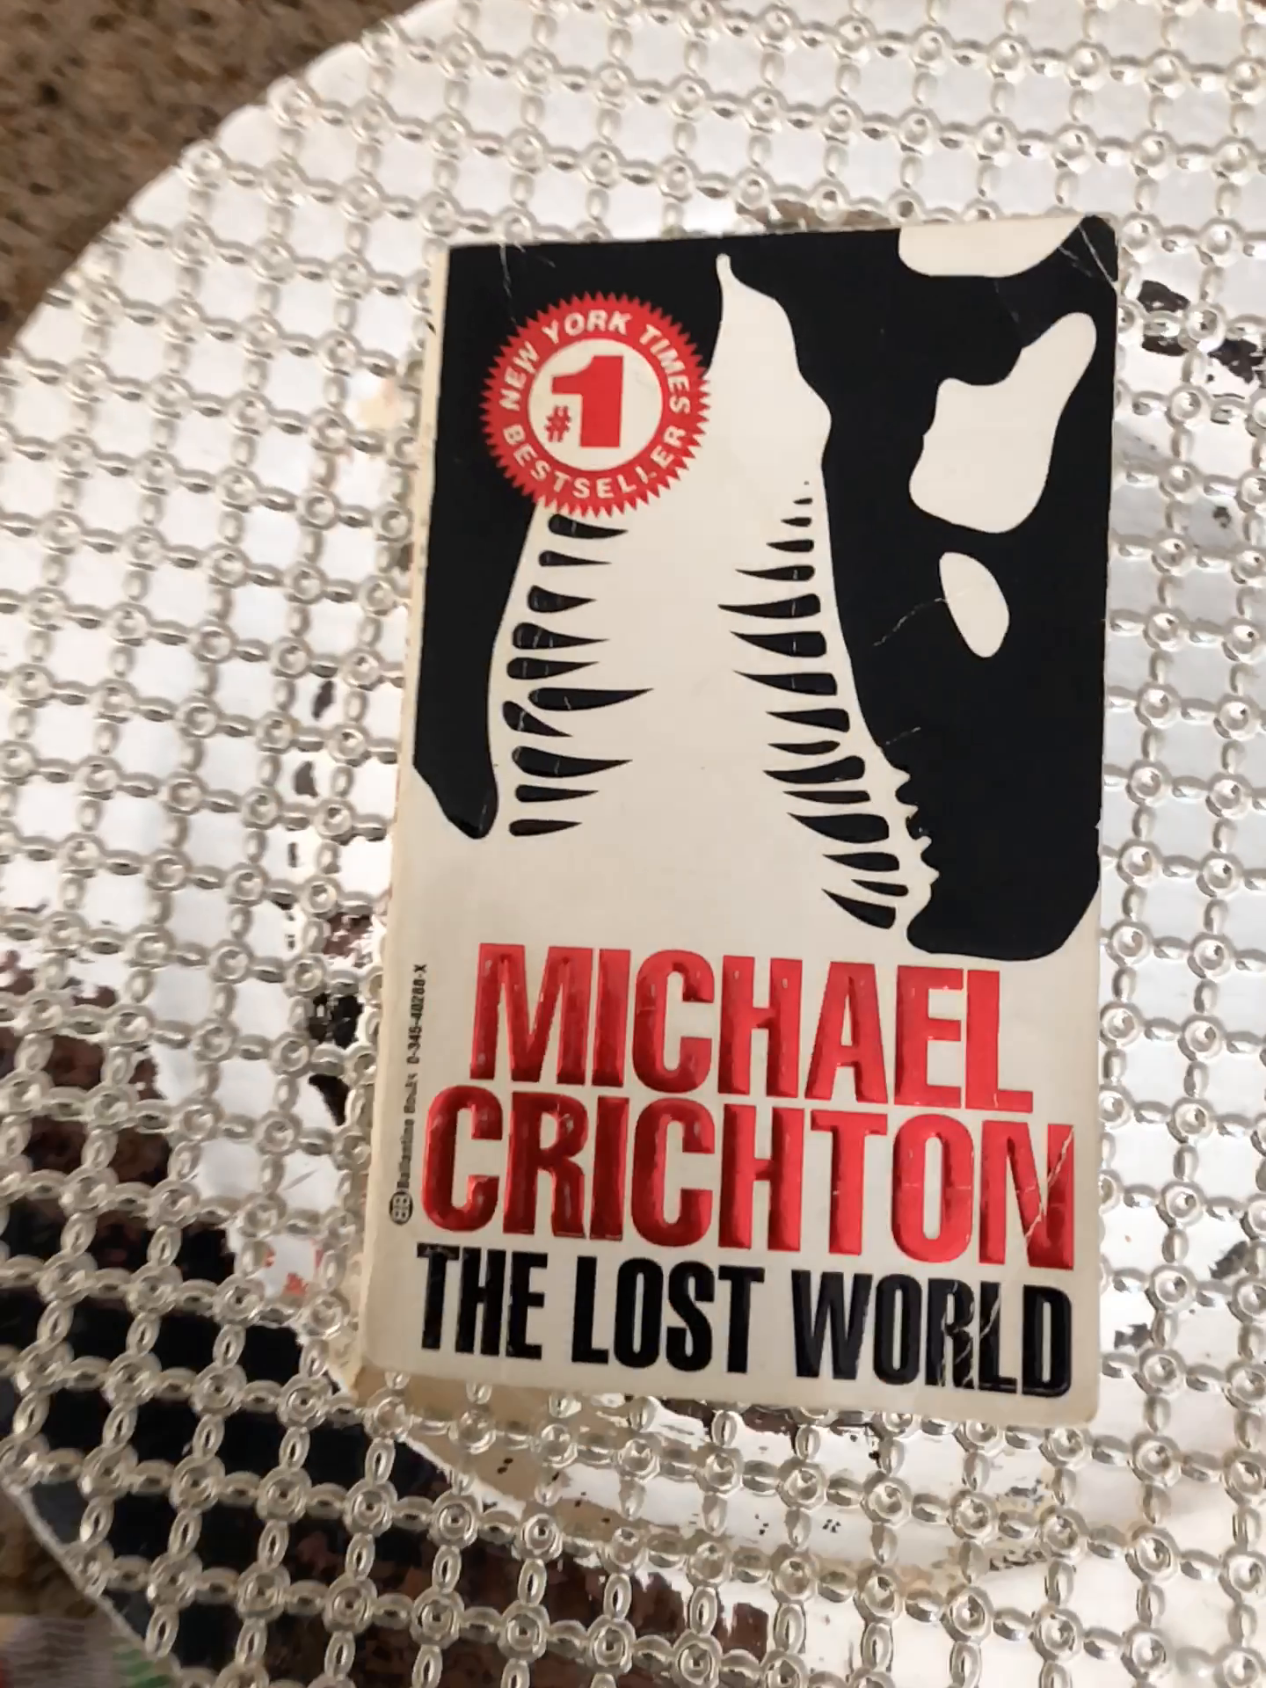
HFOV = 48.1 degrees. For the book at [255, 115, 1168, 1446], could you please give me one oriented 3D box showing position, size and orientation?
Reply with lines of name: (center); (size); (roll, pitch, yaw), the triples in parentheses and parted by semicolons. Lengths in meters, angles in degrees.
book: (0.014, -0.013, 0.218); (0.118, 0.040, 0.182); (3, 83, 2)
